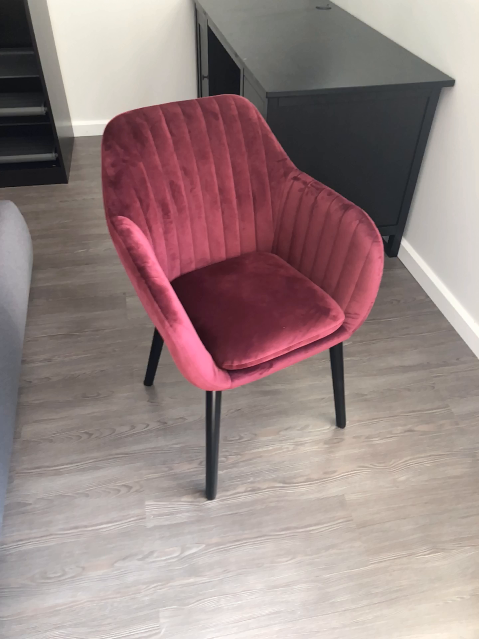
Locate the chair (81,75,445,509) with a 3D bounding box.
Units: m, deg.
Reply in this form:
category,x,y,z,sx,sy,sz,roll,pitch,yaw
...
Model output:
category,x,y,z,sx,sy,sz,roll,pitch,yaw
chair,0.011,-0.074,1.341,0.542,0.835,0.552,-19,45,-22
